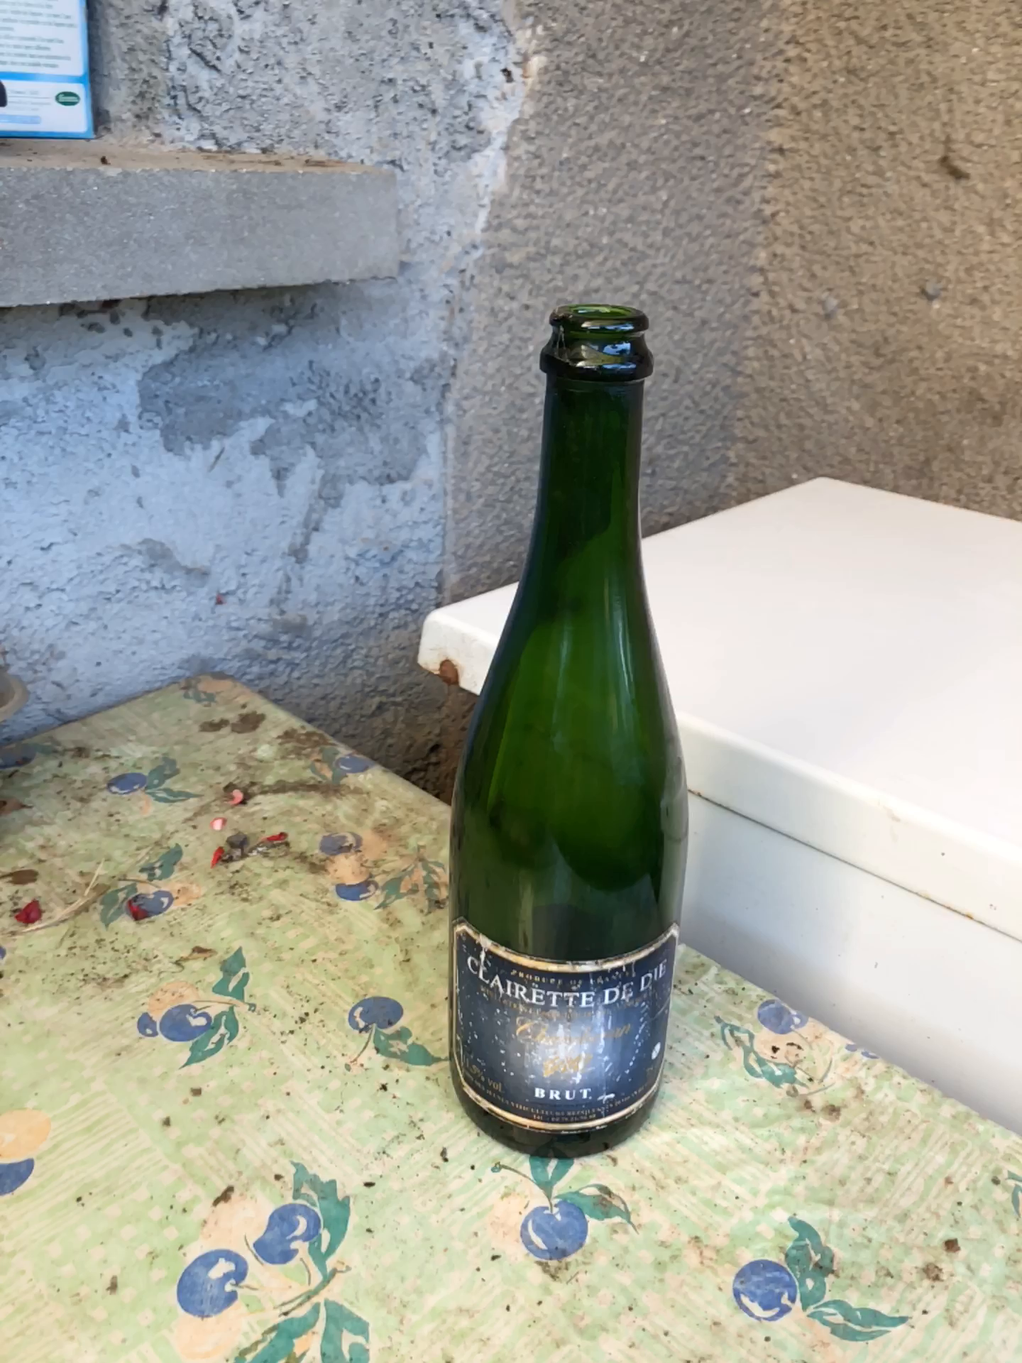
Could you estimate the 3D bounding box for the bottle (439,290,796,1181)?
[{"bbox_3d":[0.027,0.030,0.401,0.090,0.308,0.080,5,26,4],"label":"bottle"}]
